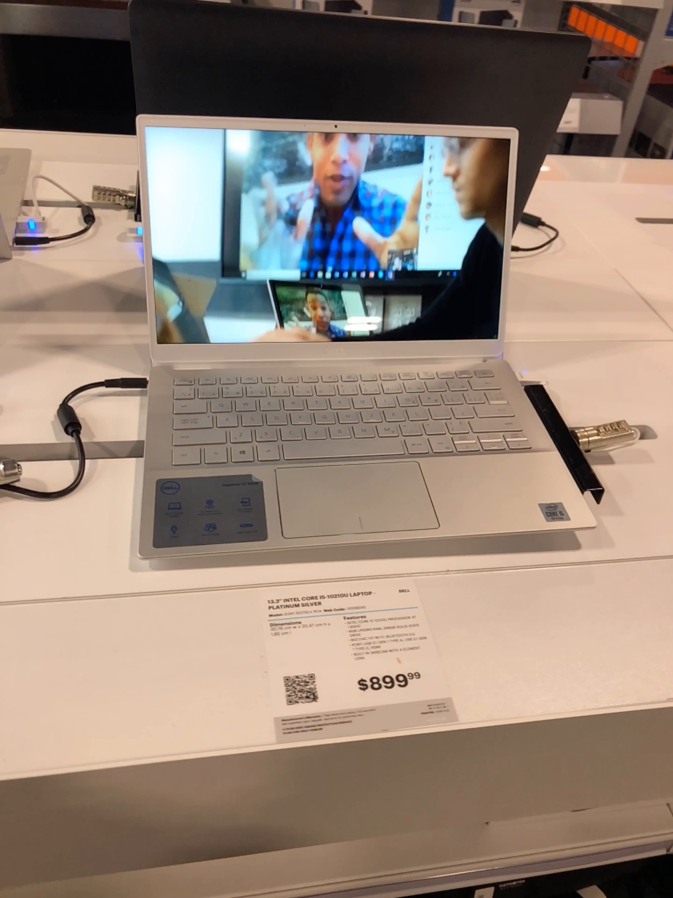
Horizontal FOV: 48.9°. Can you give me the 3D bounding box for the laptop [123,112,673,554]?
[{"bbox_3d":[0.015,-0.104,0.534,0.293,0.165,0.294,-2,42,-8],"label":"laptop"}]
